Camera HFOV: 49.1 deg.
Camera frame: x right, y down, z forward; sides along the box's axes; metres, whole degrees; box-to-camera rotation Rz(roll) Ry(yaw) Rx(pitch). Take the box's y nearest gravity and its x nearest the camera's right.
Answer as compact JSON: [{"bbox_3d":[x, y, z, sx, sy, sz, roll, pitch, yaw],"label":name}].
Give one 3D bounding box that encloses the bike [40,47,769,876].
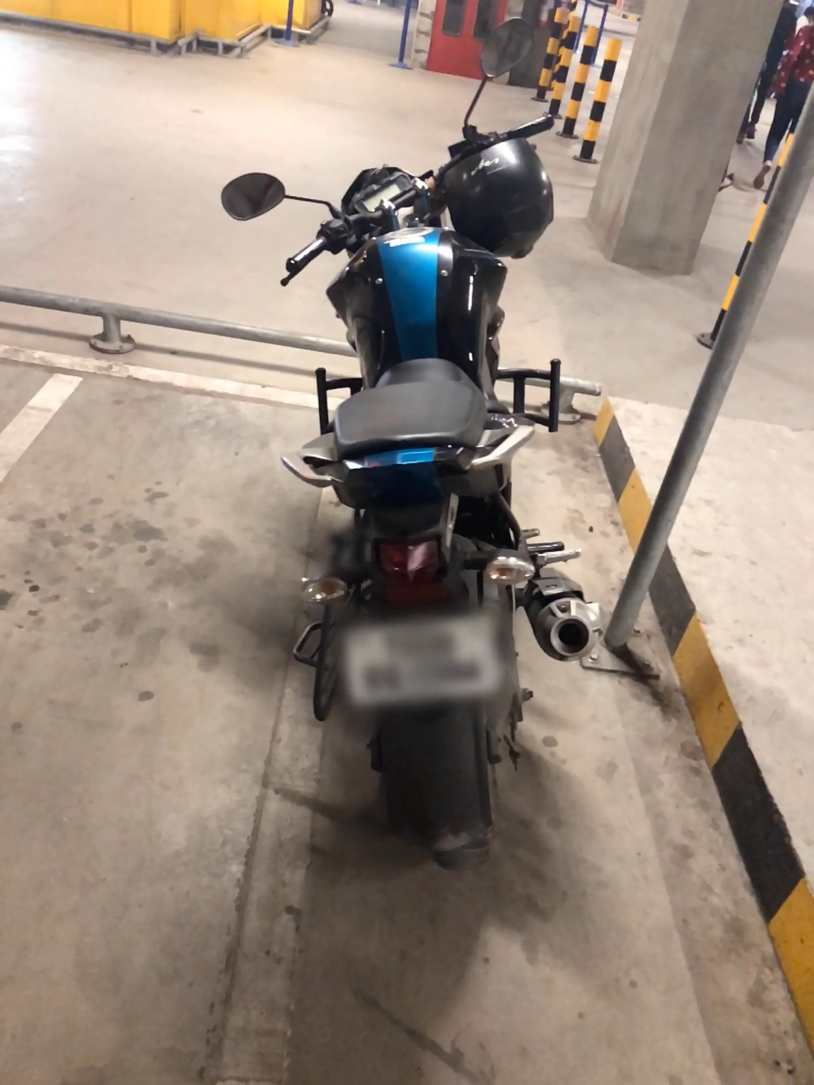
[{"bbox_3d":[-0.121,-0.288,1.764,0.767,0.950,1.421,5,34,-9],"label":"bike"}]
